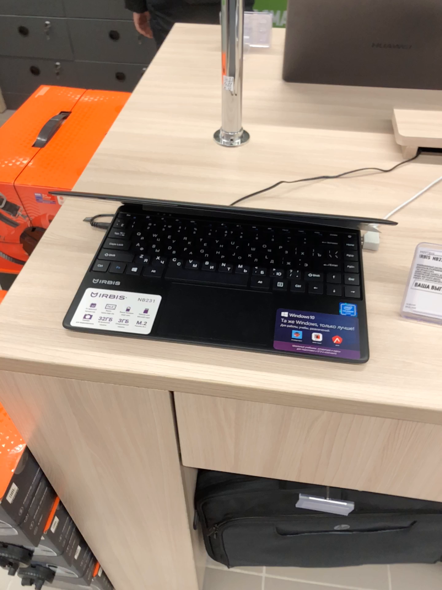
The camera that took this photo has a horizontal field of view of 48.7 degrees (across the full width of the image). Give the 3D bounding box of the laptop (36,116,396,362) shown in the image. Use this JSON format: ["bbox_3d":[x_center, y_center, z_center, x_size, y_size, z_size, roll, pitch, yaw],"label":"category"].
[{"bbox_3d":[0.006,-0.069,0.517,0.299,0.132,0.204,6,46,7],"label":"laptop"}]
